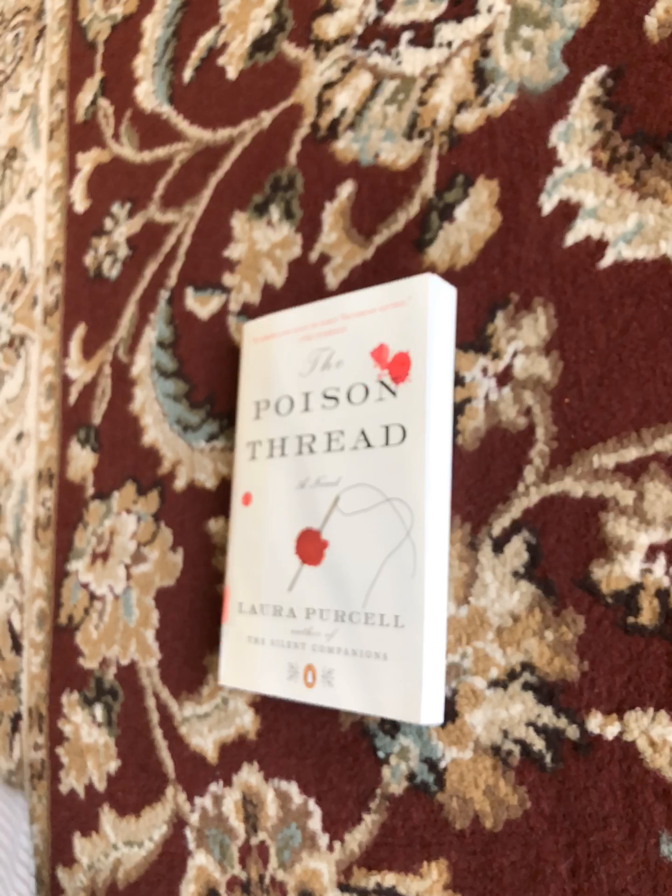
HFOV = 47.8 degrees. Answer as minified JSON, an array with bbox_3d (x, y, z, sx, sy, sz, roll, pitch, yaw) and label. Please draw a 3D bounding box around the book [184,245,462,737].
[{"bbox_3d":[-0.010,0.020,0.363,0.141,0.030,0.200,-6,78,41],"label":"book"}]
